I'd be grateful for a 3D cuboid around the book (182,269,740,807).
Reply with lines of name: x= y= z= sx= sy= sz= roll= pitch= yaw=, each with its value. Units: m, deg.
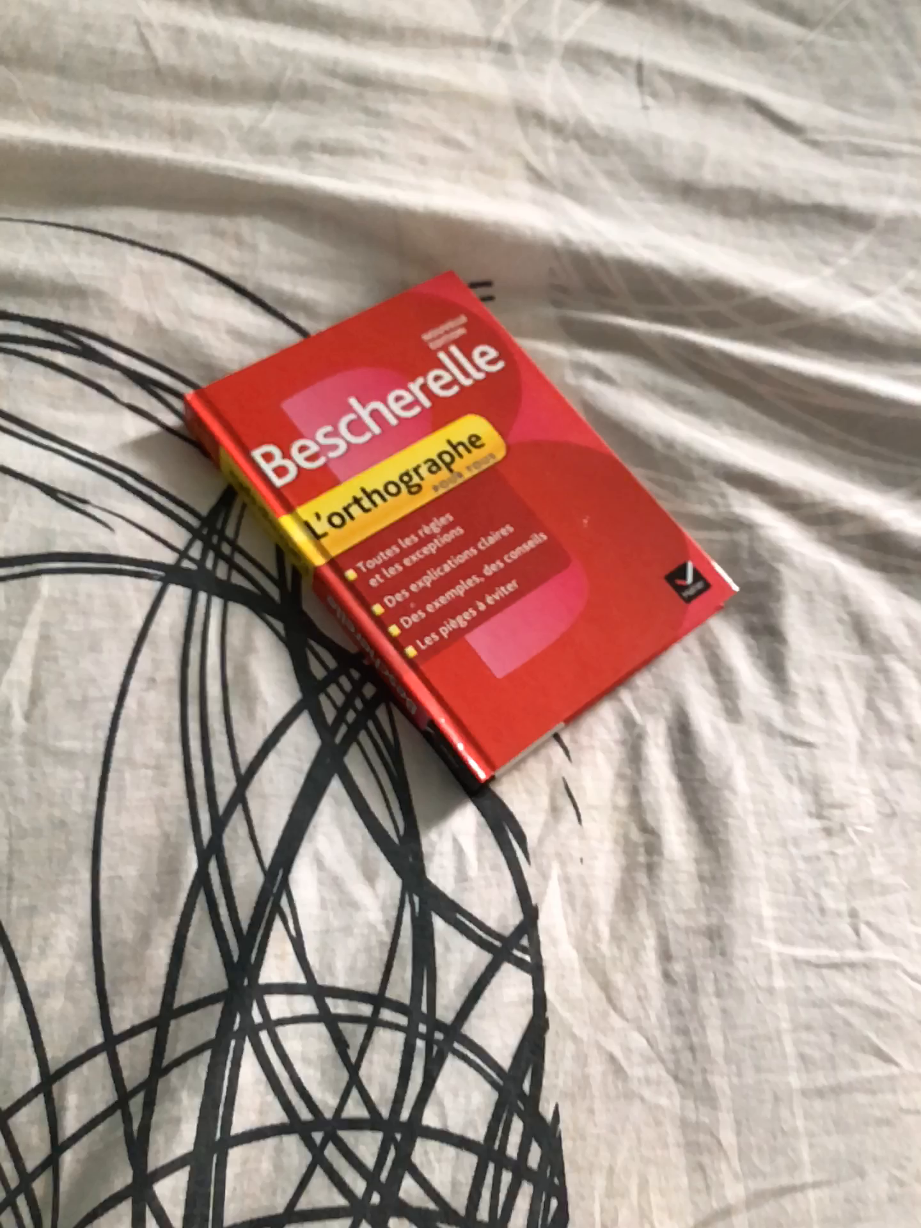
book: x=0.000 y=-0.041 z=0.419 sx=0.143 sy=0.023 sz=0.189 roll=-32 pitch=77 yaw=-23
